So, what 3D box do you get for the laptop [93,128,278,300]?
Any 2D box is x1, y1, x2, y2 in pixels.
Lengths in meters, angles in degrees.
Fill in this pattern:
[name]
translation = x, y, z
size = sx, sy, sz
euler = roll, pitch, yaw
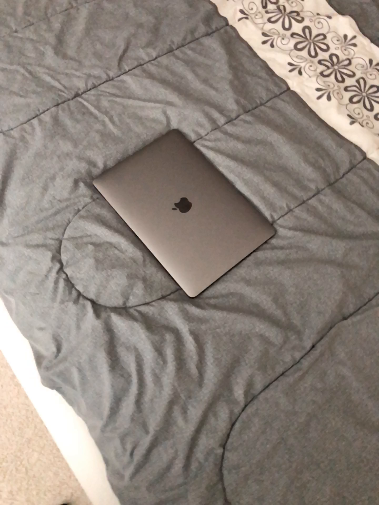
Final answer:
[laptop]
translation = -0.010, -0.085, 0.785
size = 0.207, 0.008, 0.295
euler = -37, 74, -16
